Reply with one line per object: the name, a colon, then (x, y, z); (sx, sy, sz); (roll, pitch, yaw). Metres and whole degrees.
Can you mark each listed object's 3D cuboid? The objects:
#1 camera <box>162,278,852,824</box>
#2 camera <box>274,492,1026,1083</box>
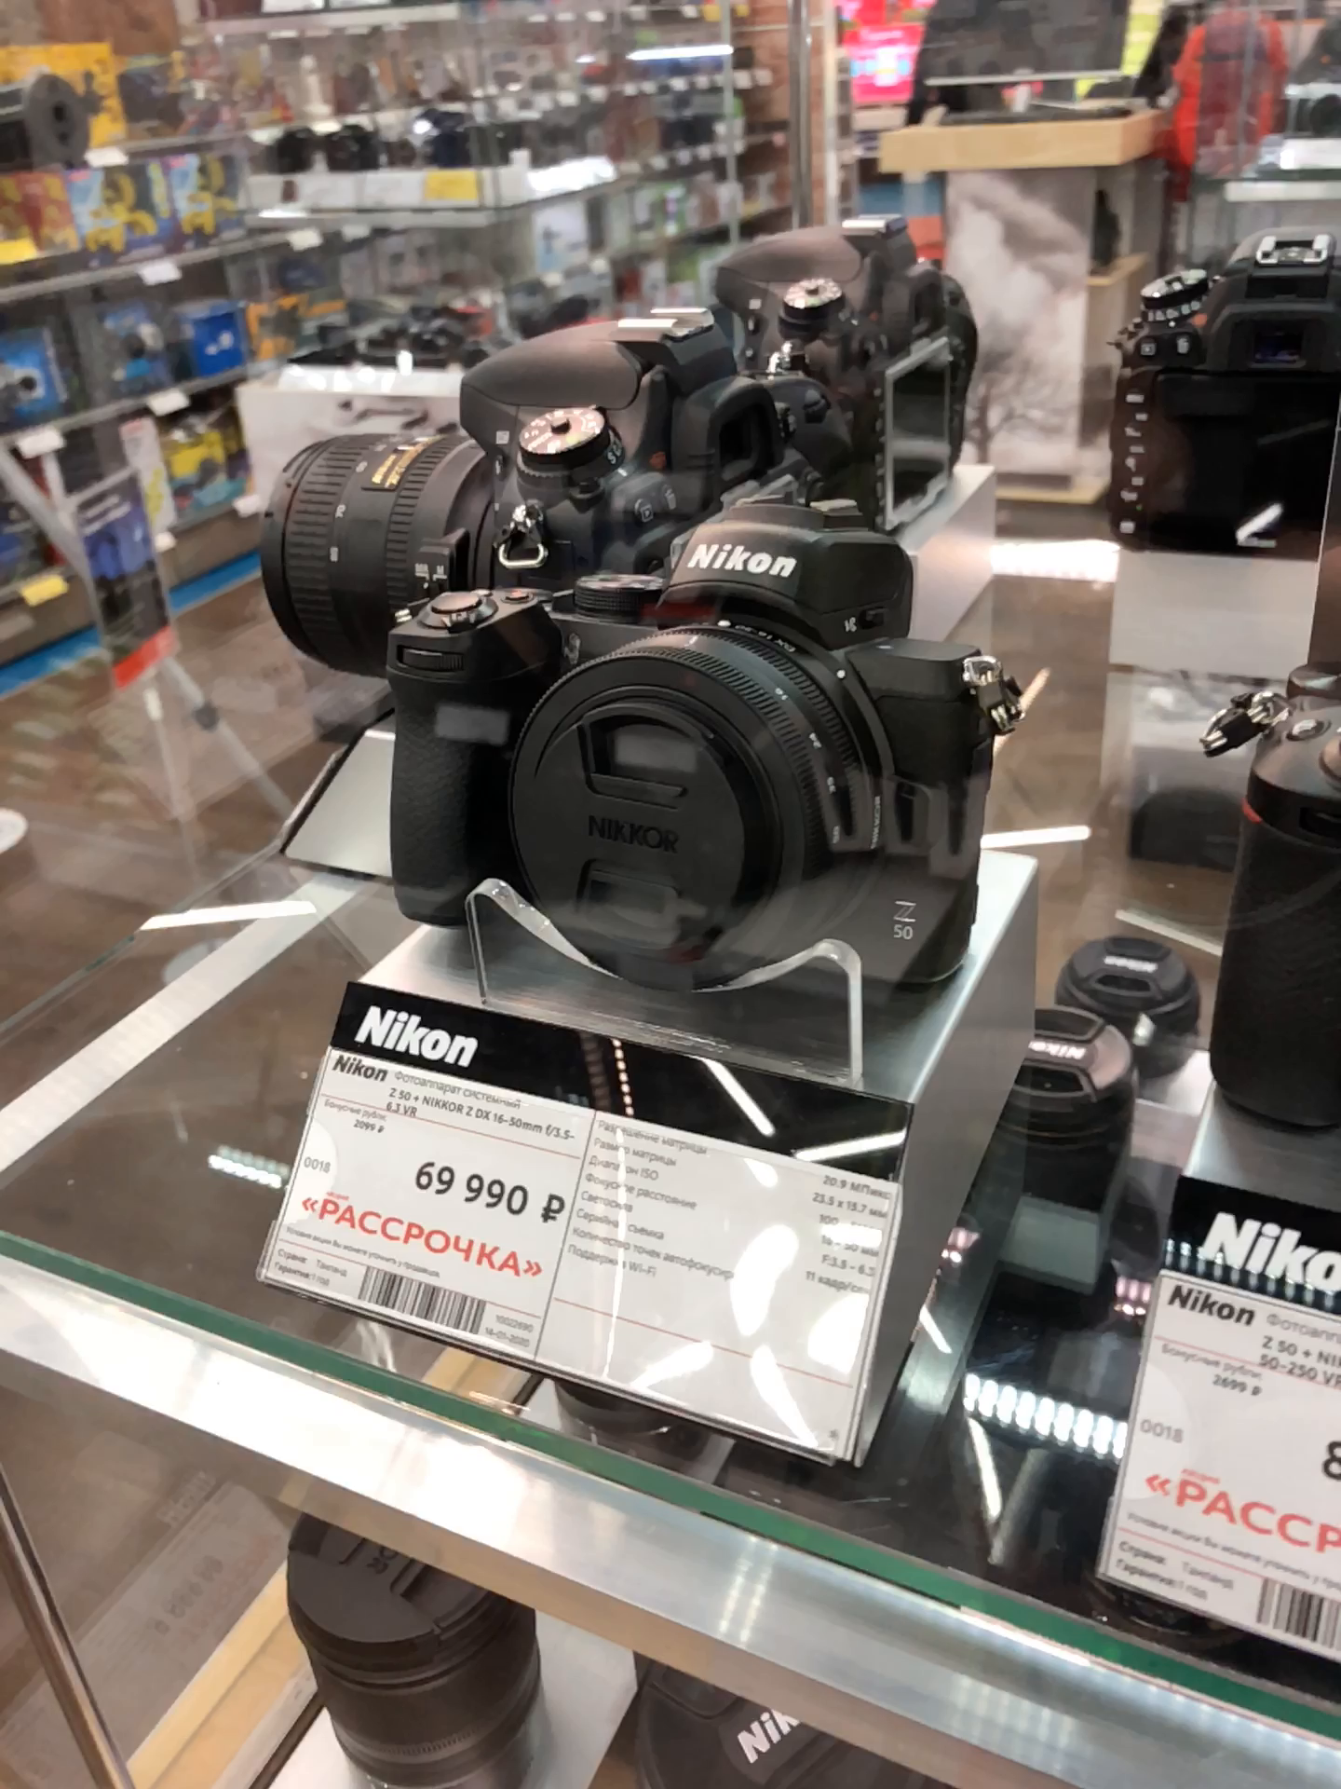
camera: (-0.042, -0.114, 0.453); (0.150, 0.111, 0.130); (15, 34, 25)
camera: (-0.002, -0.033, 0.318); (0.127, 0.092, 0.090); (11, 21, 25)
